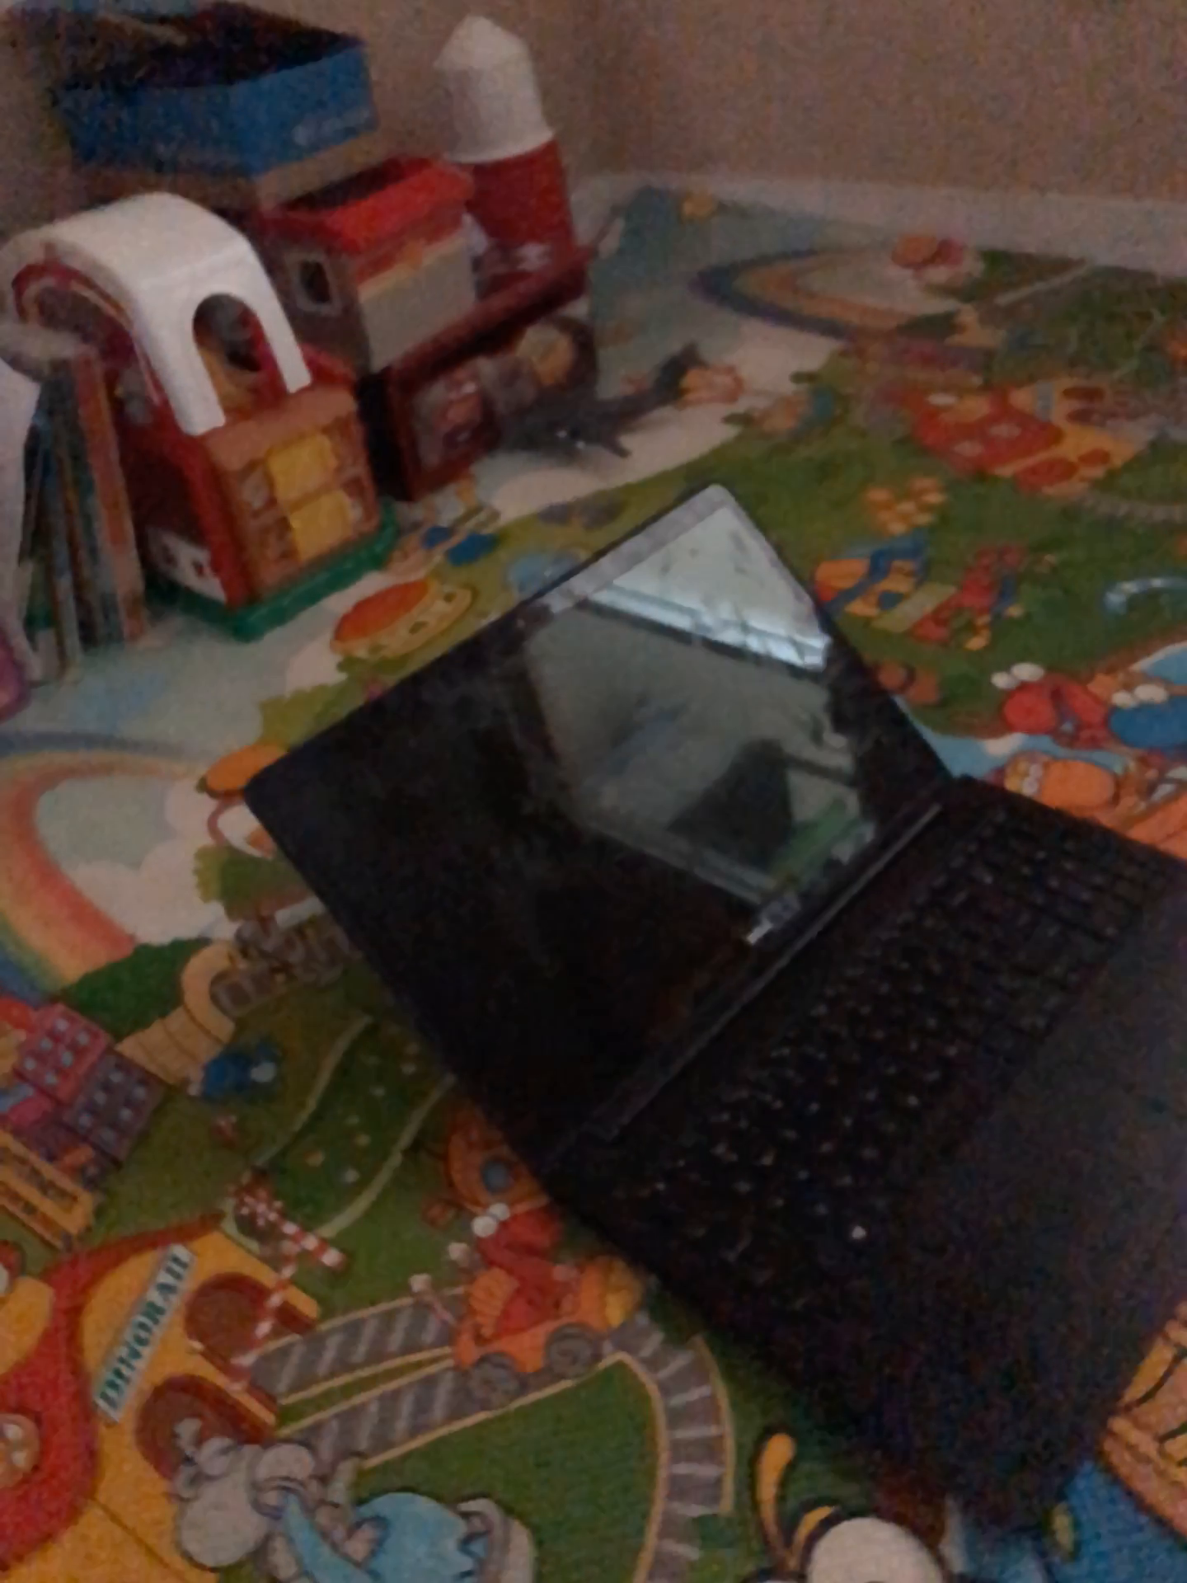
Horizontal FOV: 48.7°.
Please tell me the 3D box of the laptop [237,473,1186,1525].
[{"bbox_3d":[0.115,0.038,0.658,0.430,0.158,0.362,27,51,35],"label":"laptop"}]
